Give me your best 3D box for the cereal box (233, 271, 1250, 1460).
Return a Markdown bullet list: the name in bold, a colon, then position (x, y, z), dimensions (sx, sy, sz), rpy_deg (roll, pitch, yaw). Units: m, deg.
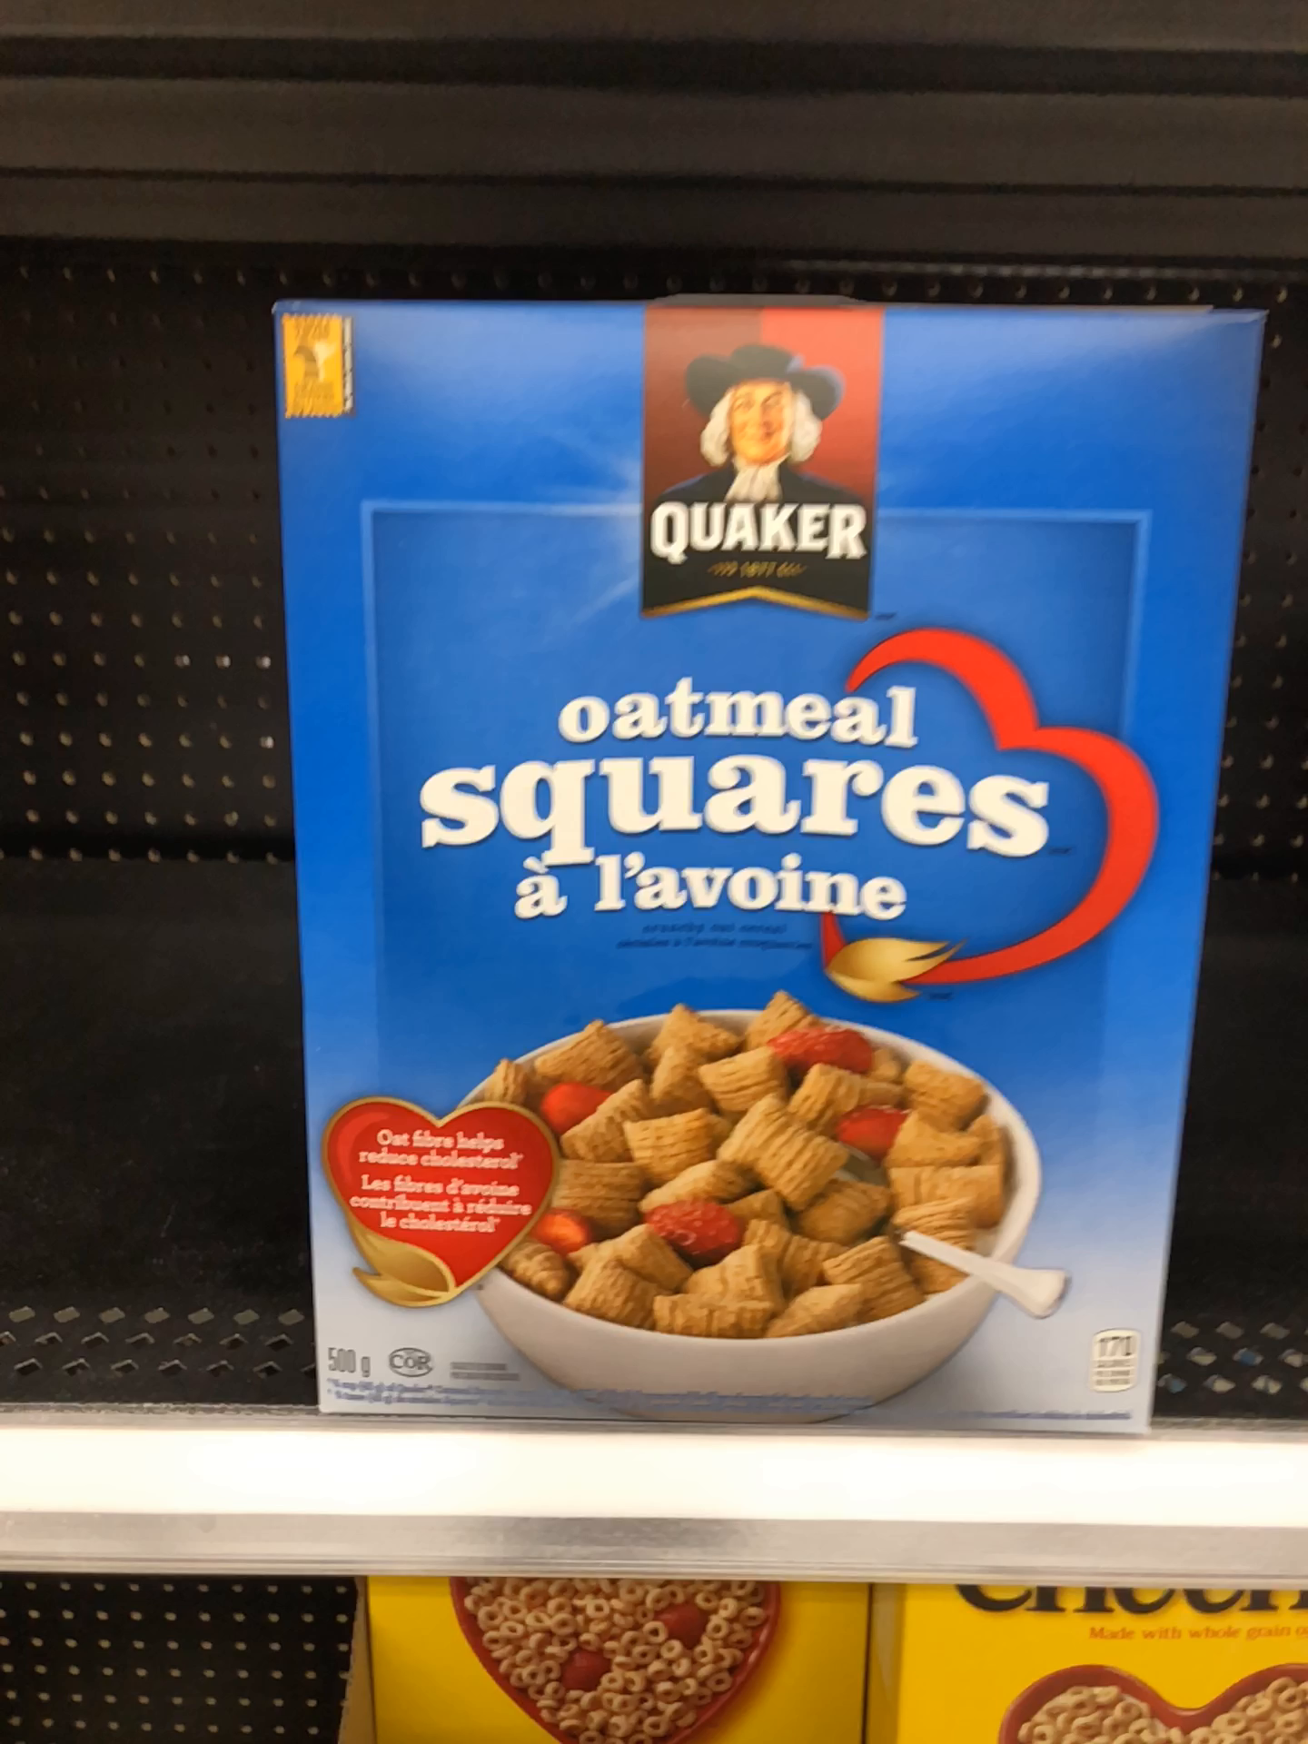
- **cereal box**: position (0.015, 0.005, 0.363), dimensions (0.210, 0.279, 0.060), rpy_deg (1, 15, -1)
